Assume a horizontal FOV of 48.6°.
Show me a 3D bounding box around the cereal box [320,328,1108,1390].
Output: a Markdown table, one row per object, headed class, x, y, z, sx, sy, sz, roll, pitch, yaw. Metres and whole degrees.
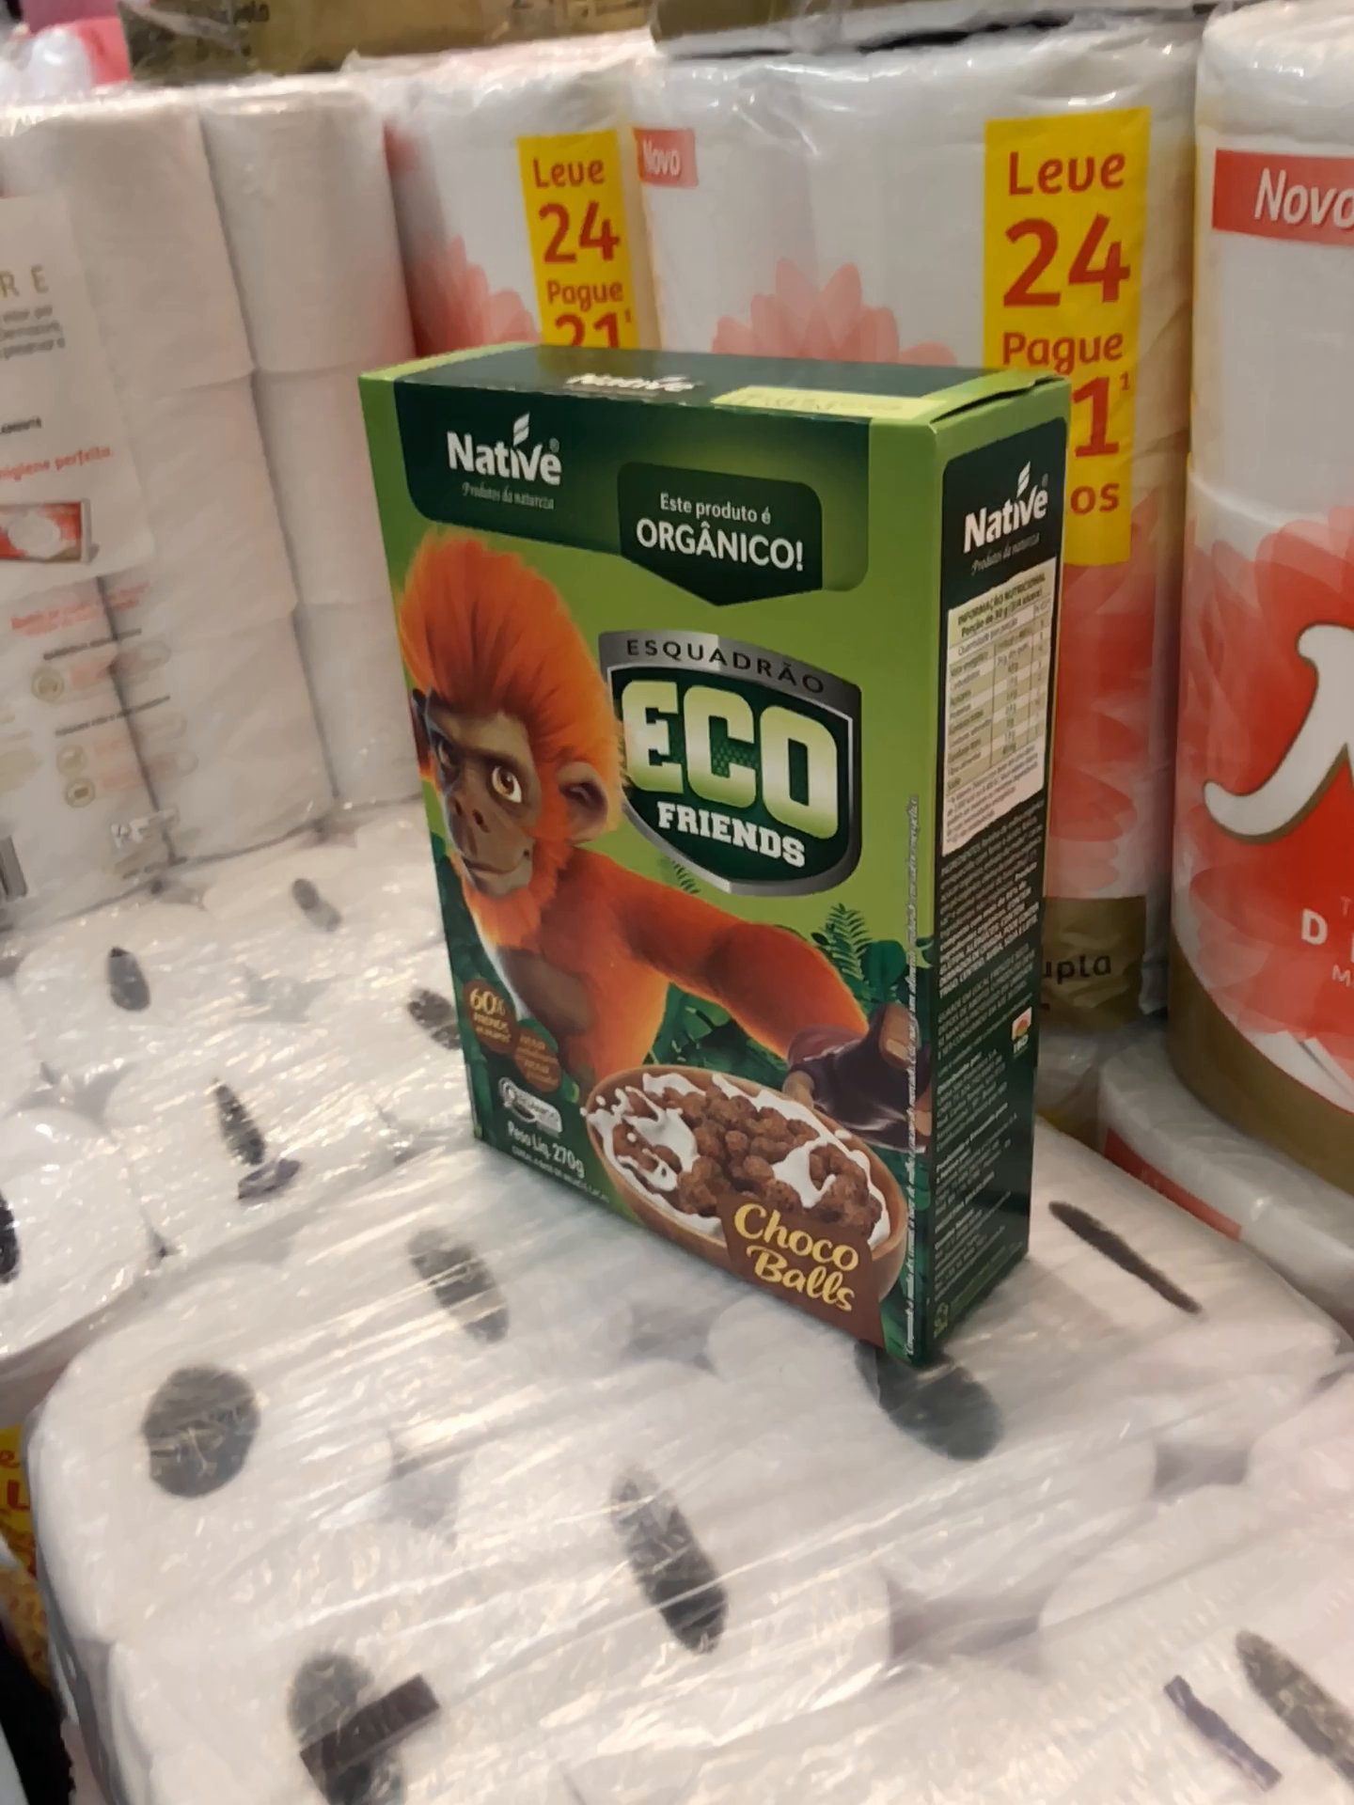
| class | x | y | z | sx | sy | sz | roll | pitch | yaw |
| --- | --- | --- | --- | --- | --- | --- | --- | --- | --- |
| cereal box | 0.005 | -0.019 | 0.387 | 0.181 | 0.228 | 0.060 | 20 | 35 | 38 |
